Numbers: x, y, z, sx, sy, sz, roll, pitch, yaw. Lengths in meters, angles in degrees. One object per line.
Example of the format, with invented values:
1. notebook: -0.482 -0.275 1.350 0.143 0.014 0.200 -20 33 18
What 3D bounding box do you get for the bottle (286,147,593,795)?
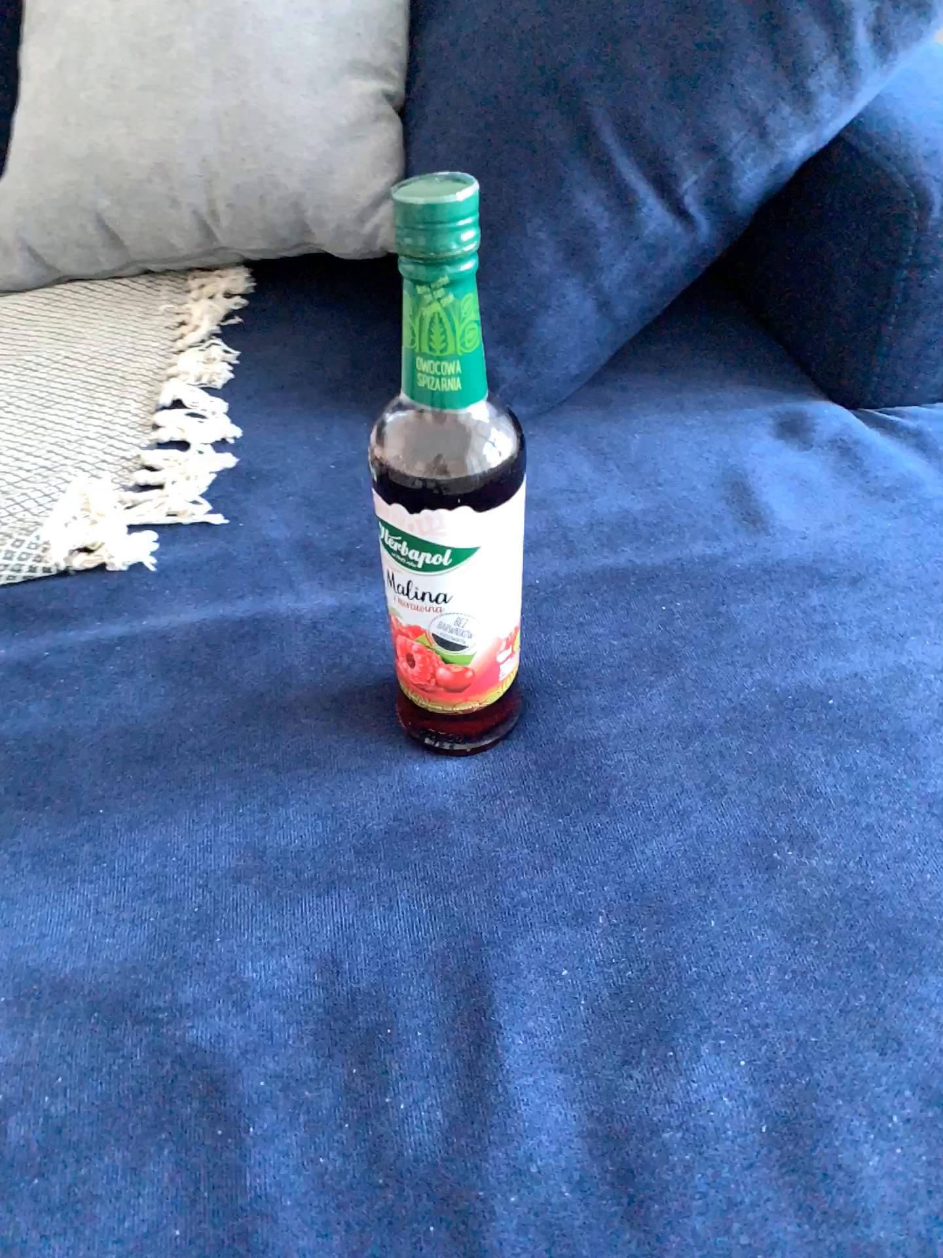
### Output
1. bottle: -0.006 -0.048 0.395 0.070 0.249 0.070 -1 43 1
